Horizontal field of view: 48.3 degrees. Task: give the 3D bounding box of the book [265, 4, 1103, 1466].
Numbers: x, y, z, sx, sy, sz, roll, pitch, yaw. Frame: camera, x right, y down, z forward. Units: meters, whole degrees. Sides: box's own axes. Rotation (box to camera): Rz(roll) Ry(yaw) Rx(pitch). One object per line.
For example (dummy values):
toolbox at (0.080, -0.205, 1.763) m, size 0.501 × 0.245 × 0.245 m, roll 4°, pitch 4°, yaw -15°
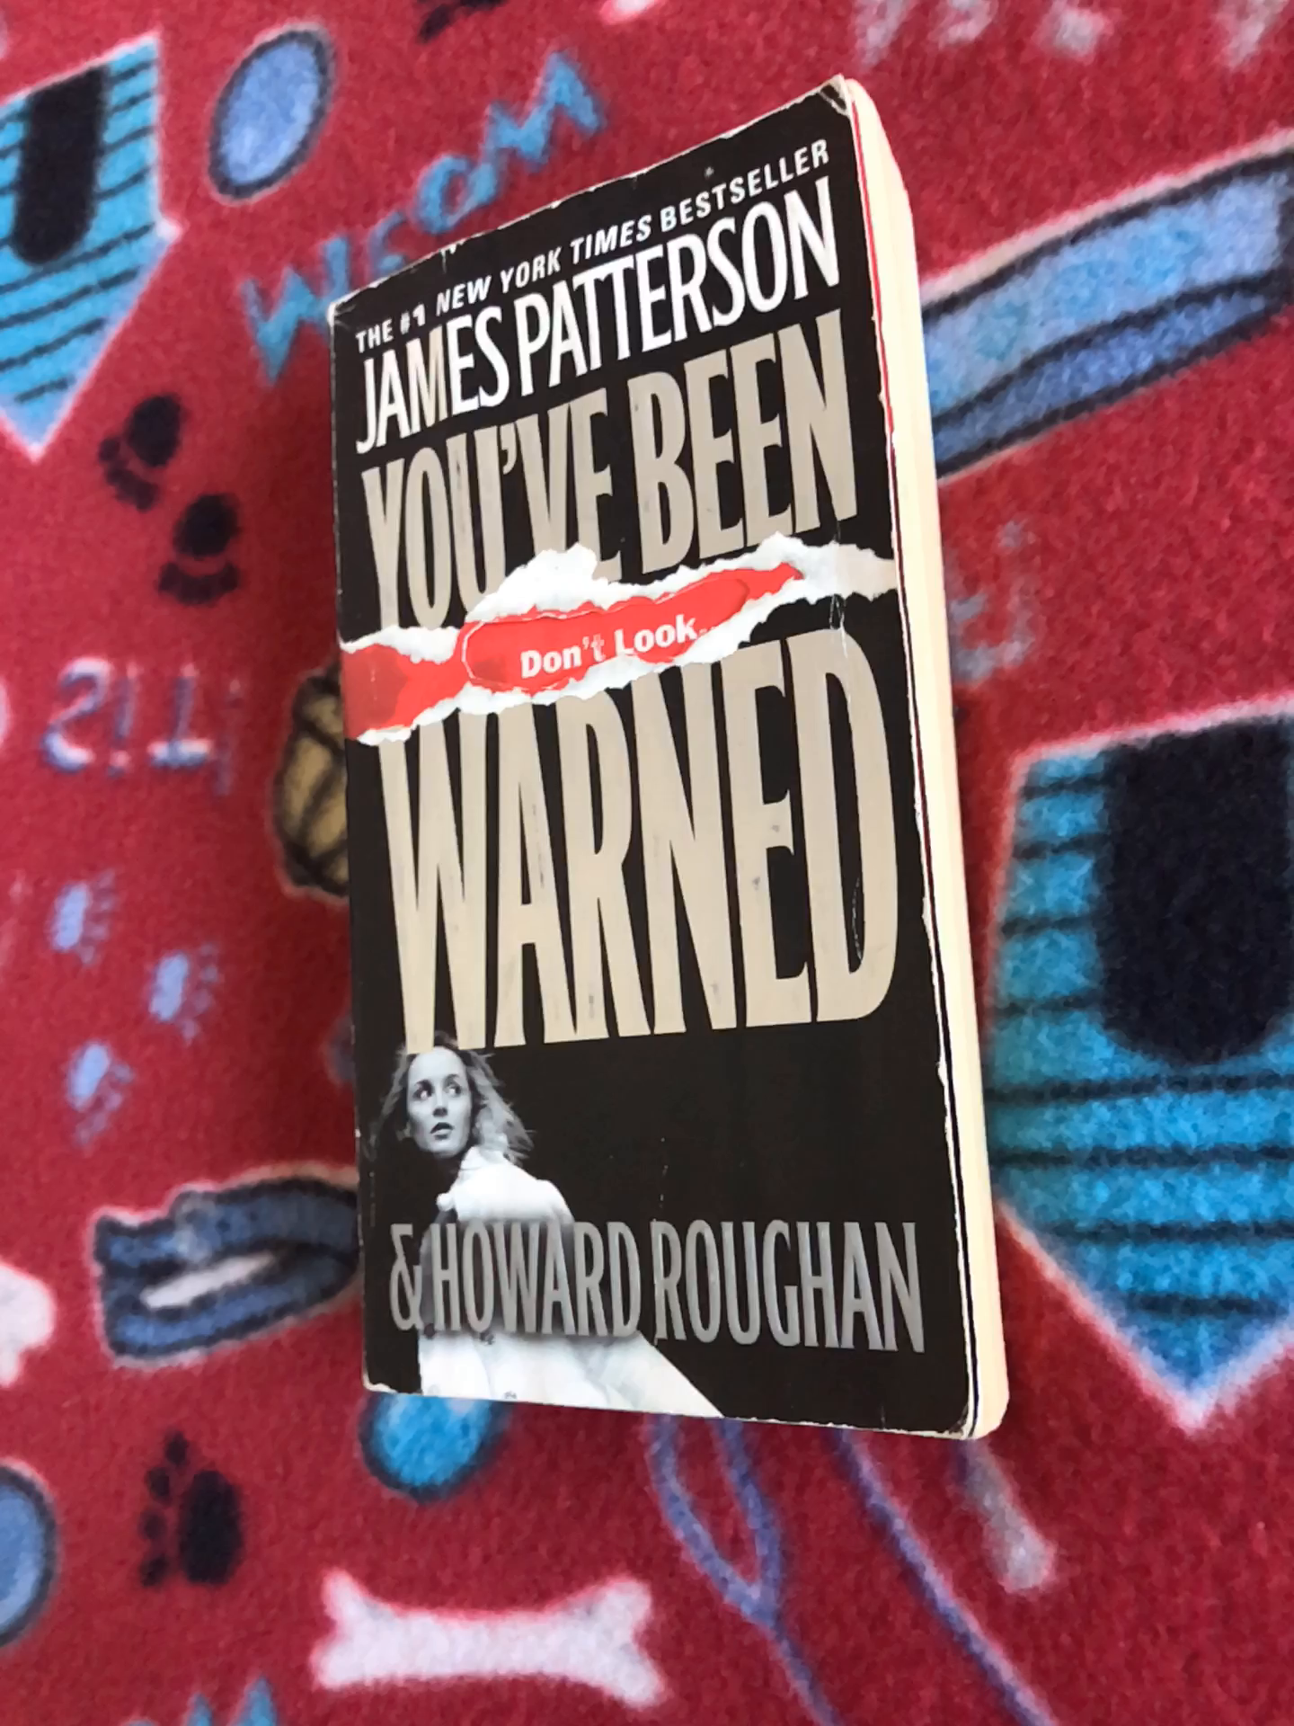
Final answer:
book at (0.001, -0.014, 0.229) m, size 0.110 × 0.040 × 0.190 m, roll -8°, pitch 84°, yaw 29°
